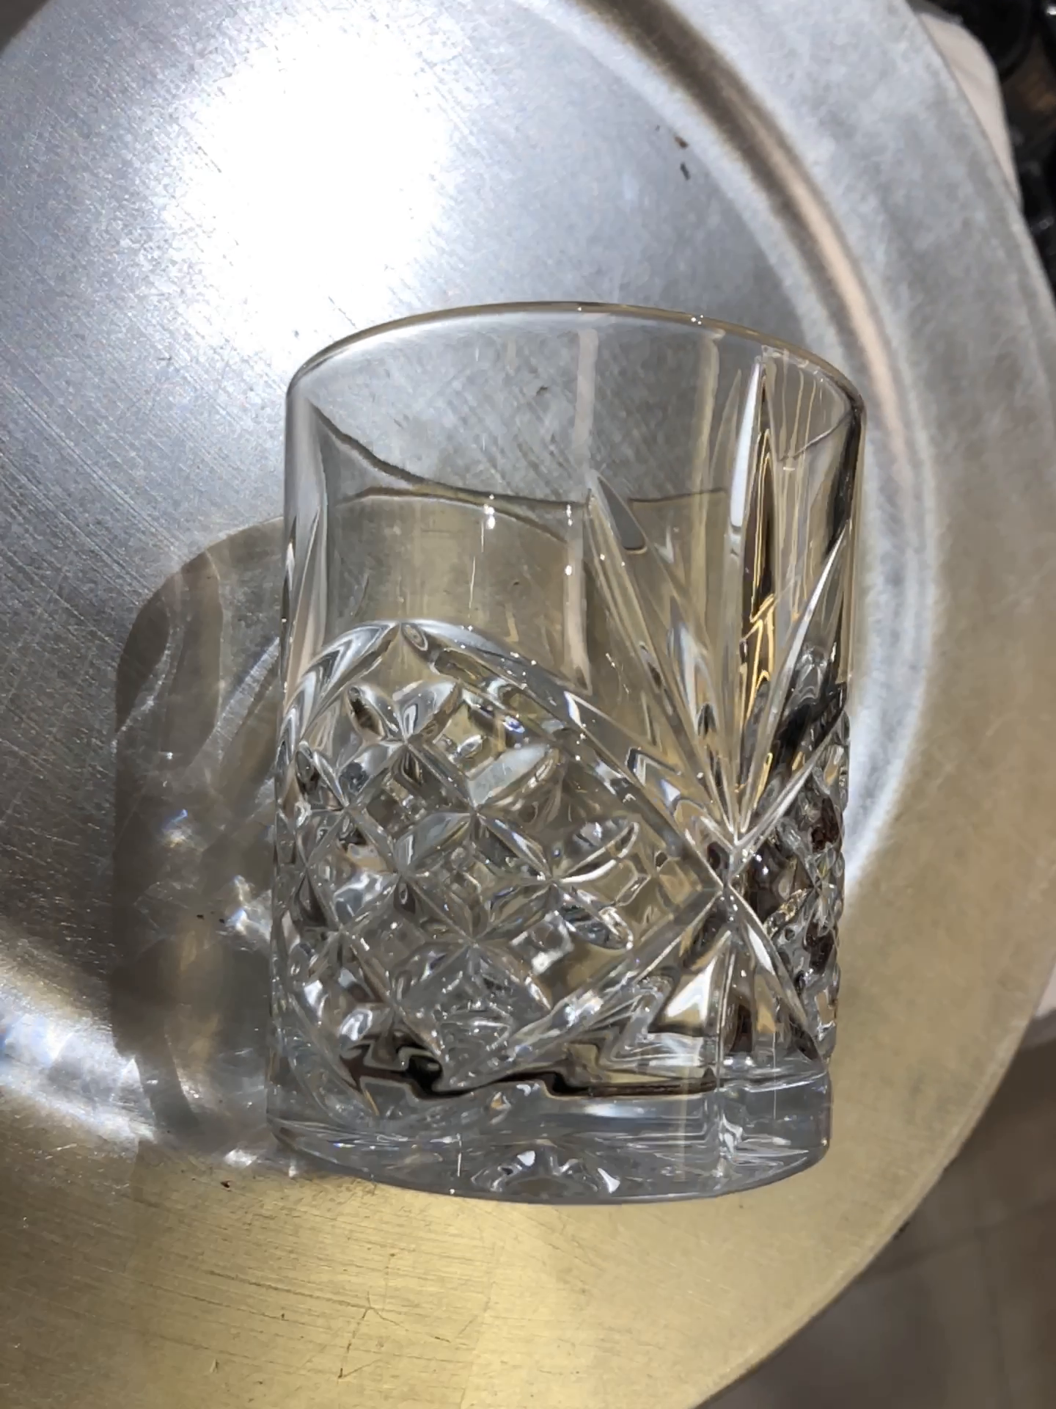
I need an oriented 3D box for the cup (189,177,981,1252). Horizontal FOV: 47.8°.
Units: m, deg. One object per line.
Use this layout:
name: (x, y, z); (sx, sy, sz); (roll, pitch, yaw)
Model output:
cup: (0.006, 0.004, 0.155); (0.080, 0.060, 0.100); (6, 83, -27)
